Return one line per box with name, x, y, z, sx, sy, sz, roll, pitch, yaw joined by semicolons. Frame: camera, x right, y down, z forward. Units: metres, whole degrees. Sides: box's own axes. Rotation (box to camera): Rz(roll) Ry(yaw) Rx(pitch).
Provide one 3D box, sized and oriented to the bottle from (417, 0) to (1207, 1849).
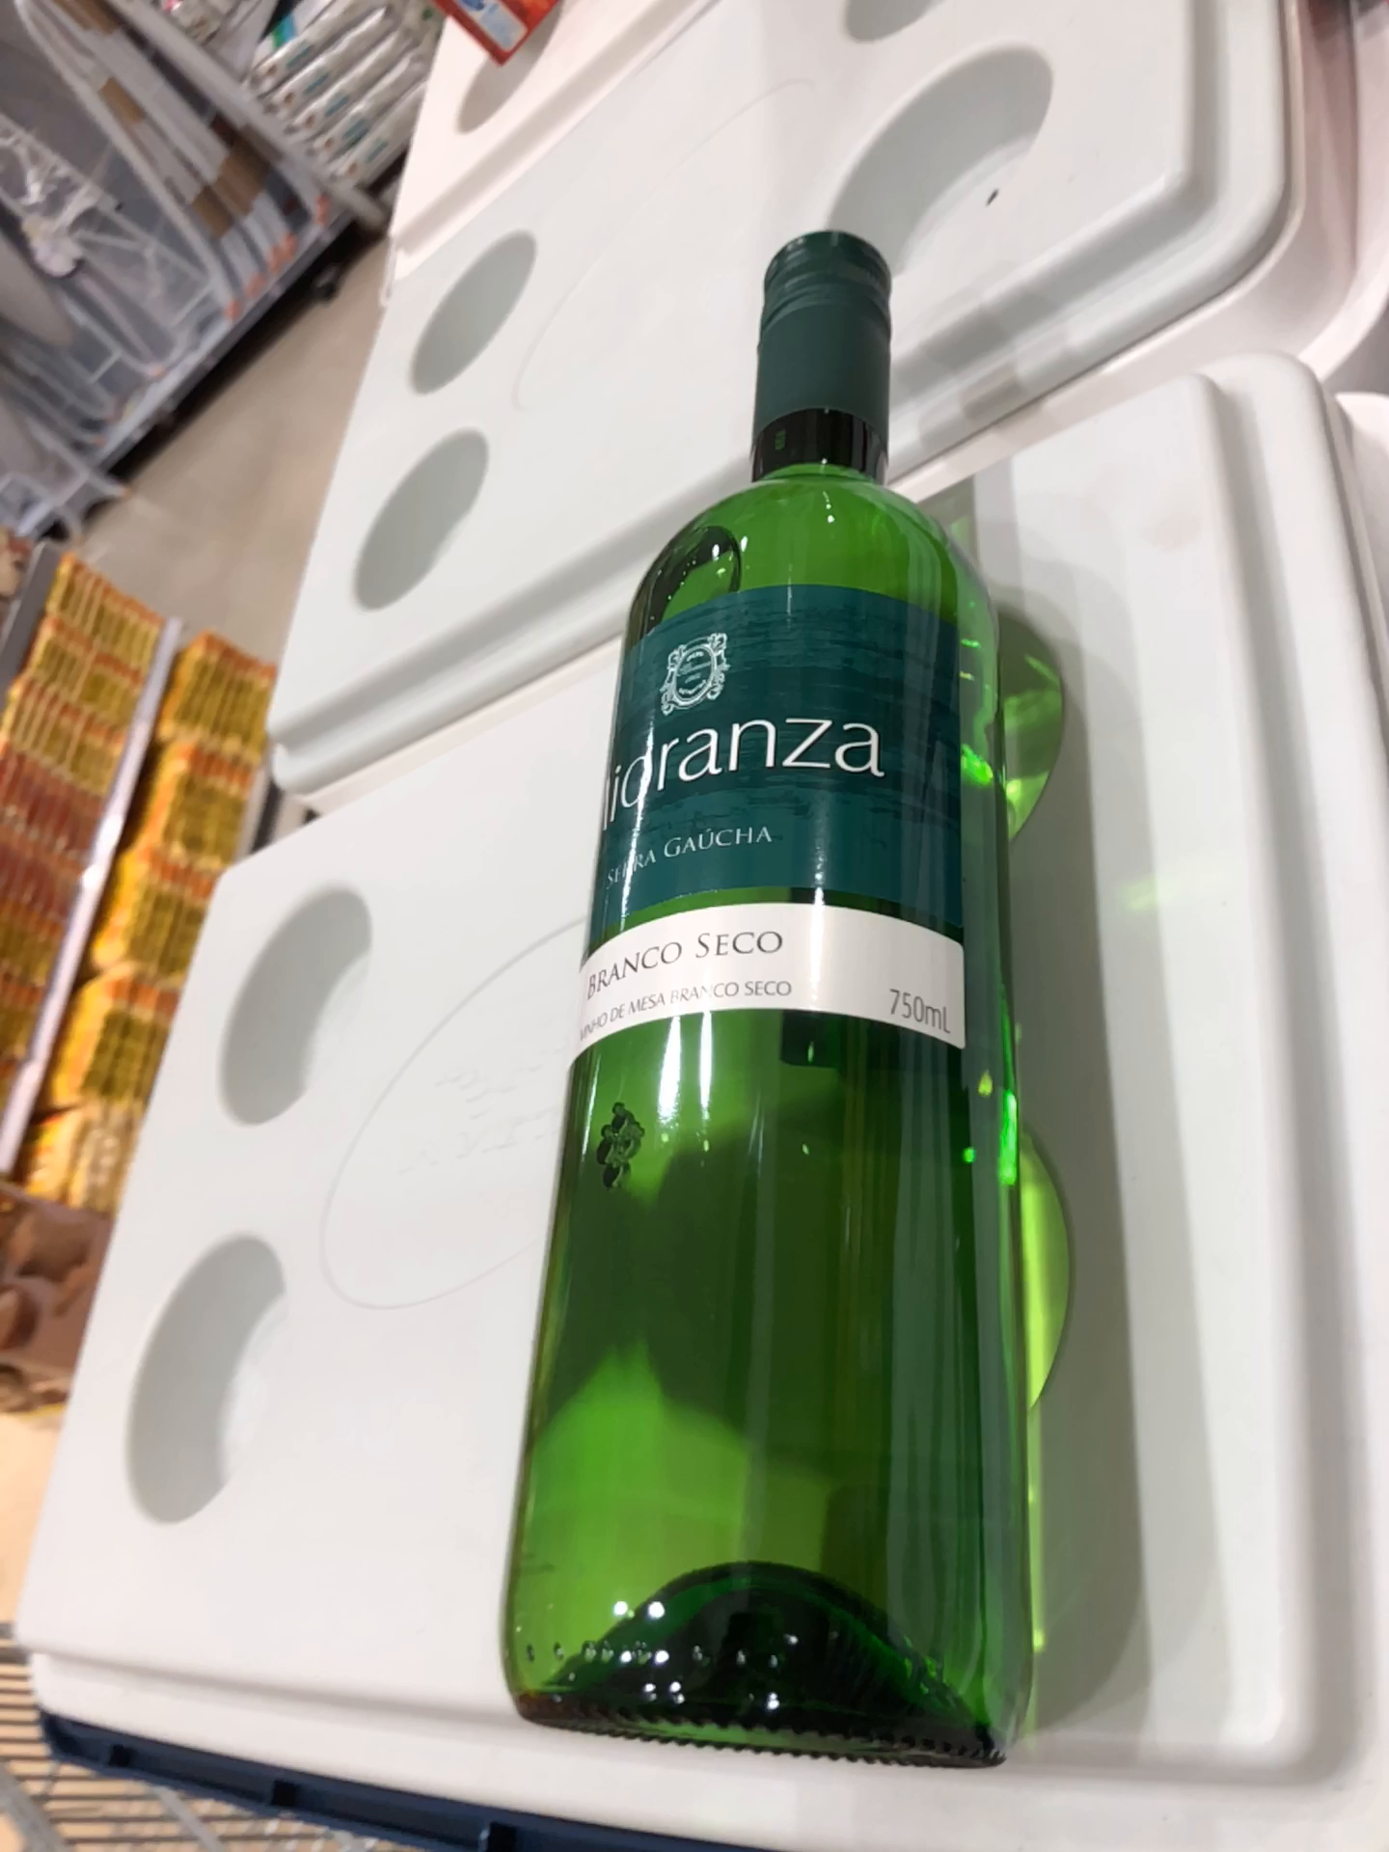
bottle;0.032;-0.036;0.300;0.080;0.070;0.361;-22;49;39
